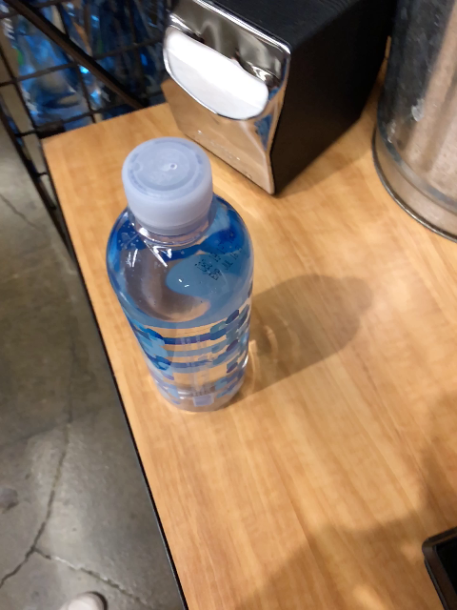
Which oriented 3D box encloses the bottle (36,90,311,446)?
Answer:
[{"bbox_3d":[-0.016,0.005,0.258,0.070,0.200,0.070,0,63,0],"label":"bottle"}]
